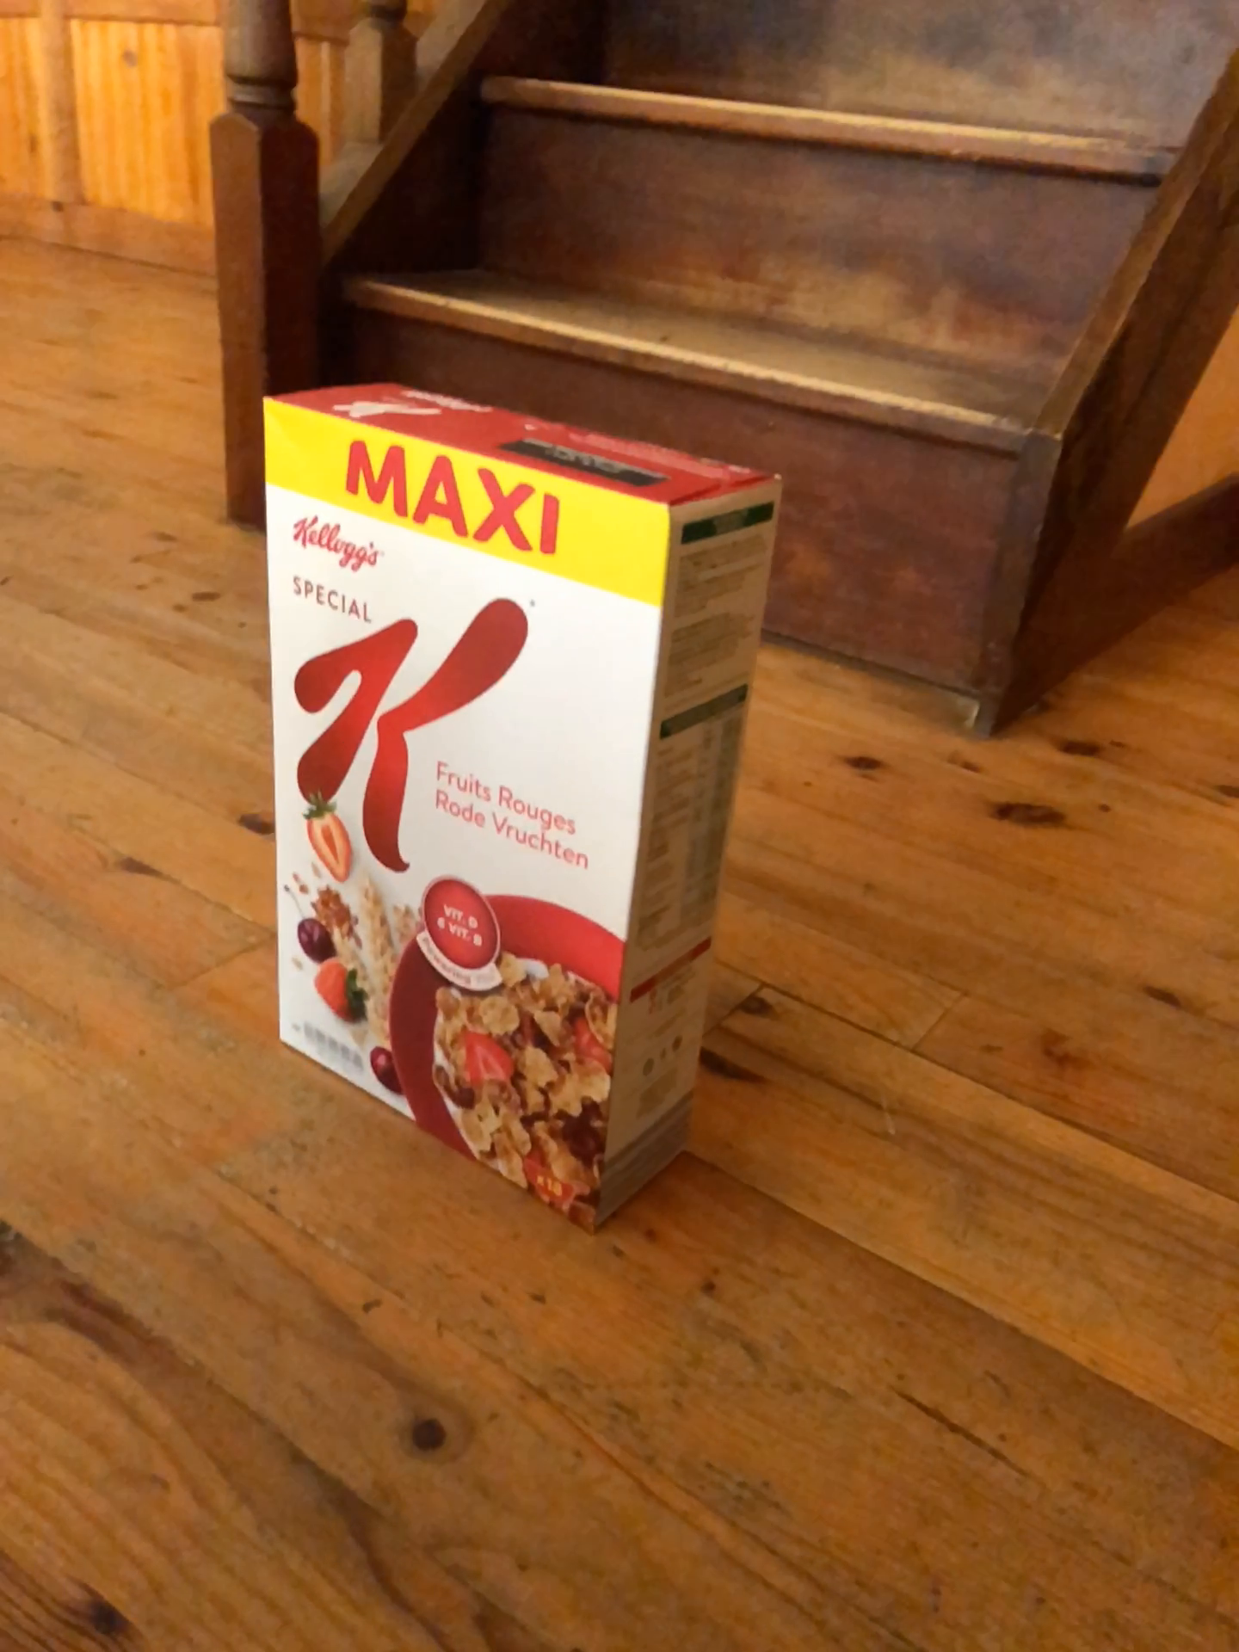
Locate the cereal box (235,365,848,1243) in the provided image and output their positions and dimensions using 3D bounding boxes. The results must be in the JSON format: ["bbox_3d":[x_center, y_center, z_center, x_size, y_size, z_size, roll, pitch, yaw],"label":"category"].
[{"bbox_3d":[-0.046,-0.016,0.550,0.210,0.288,0.091,23,31,30],"label":"cereal box"}]
